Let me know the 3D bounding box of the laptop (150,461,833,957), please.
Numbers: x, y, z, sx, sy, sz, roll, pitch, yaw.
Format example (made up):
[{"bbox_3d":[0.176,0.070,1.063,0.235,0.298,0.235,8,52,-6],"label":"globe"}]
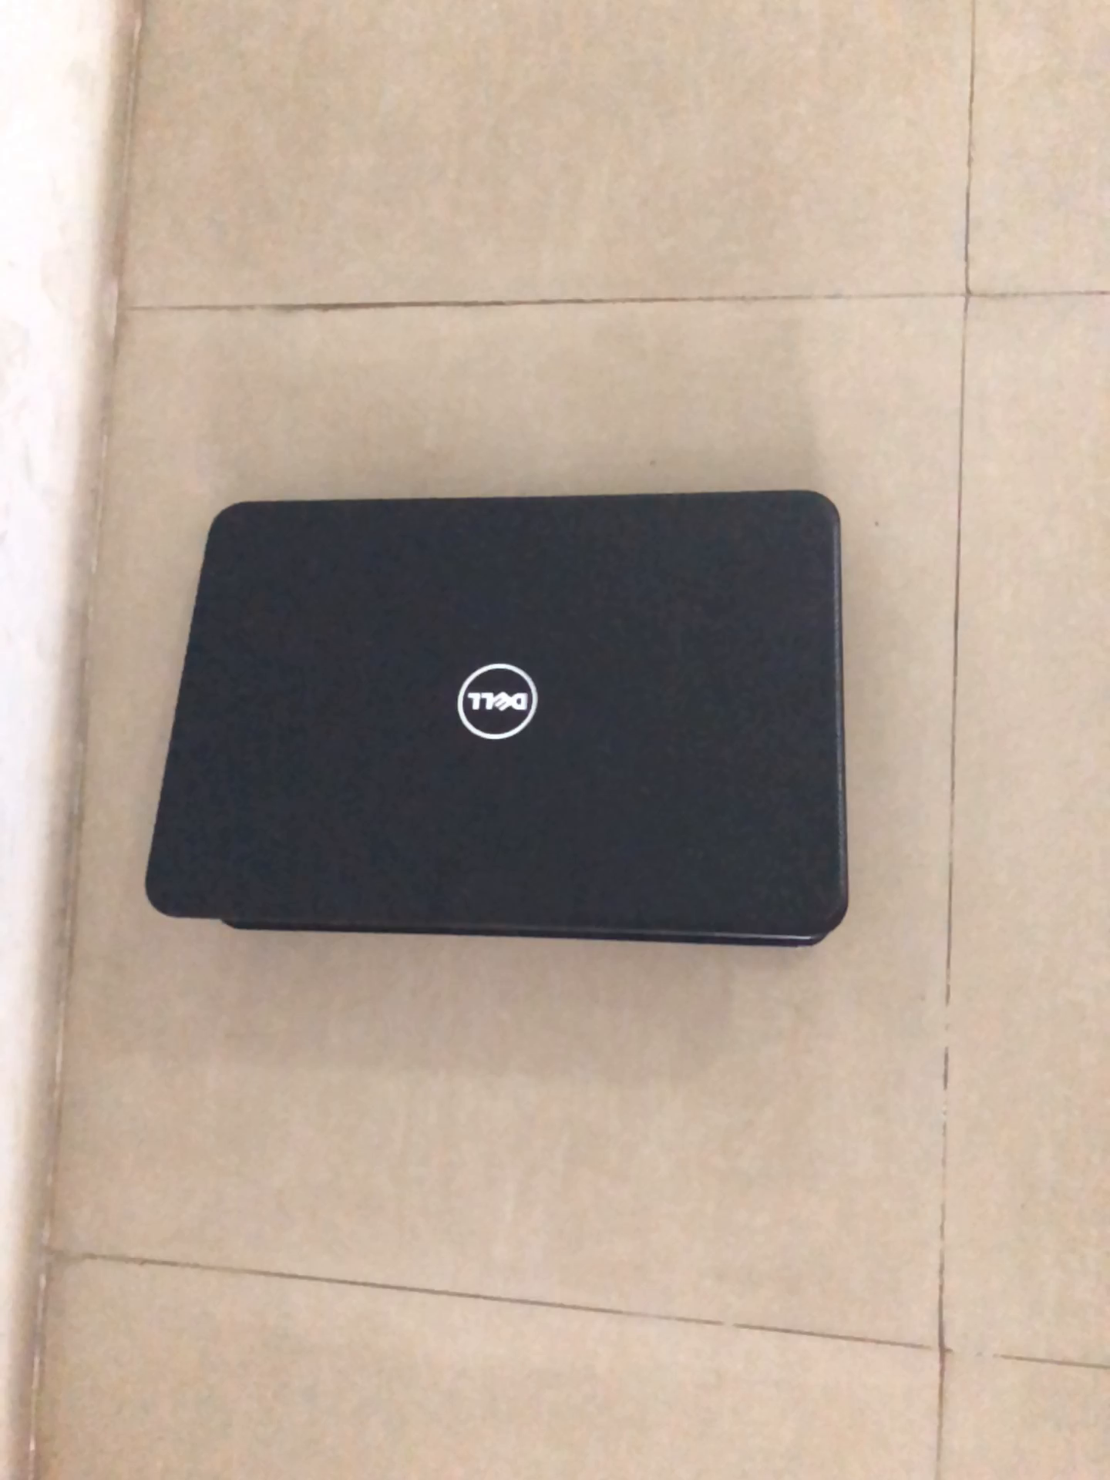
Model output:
[{"bbox_3d":[-0.033,-0.013,0.672,0.357,0.078,0.247,0,87,8],"label":"laptop"}]
